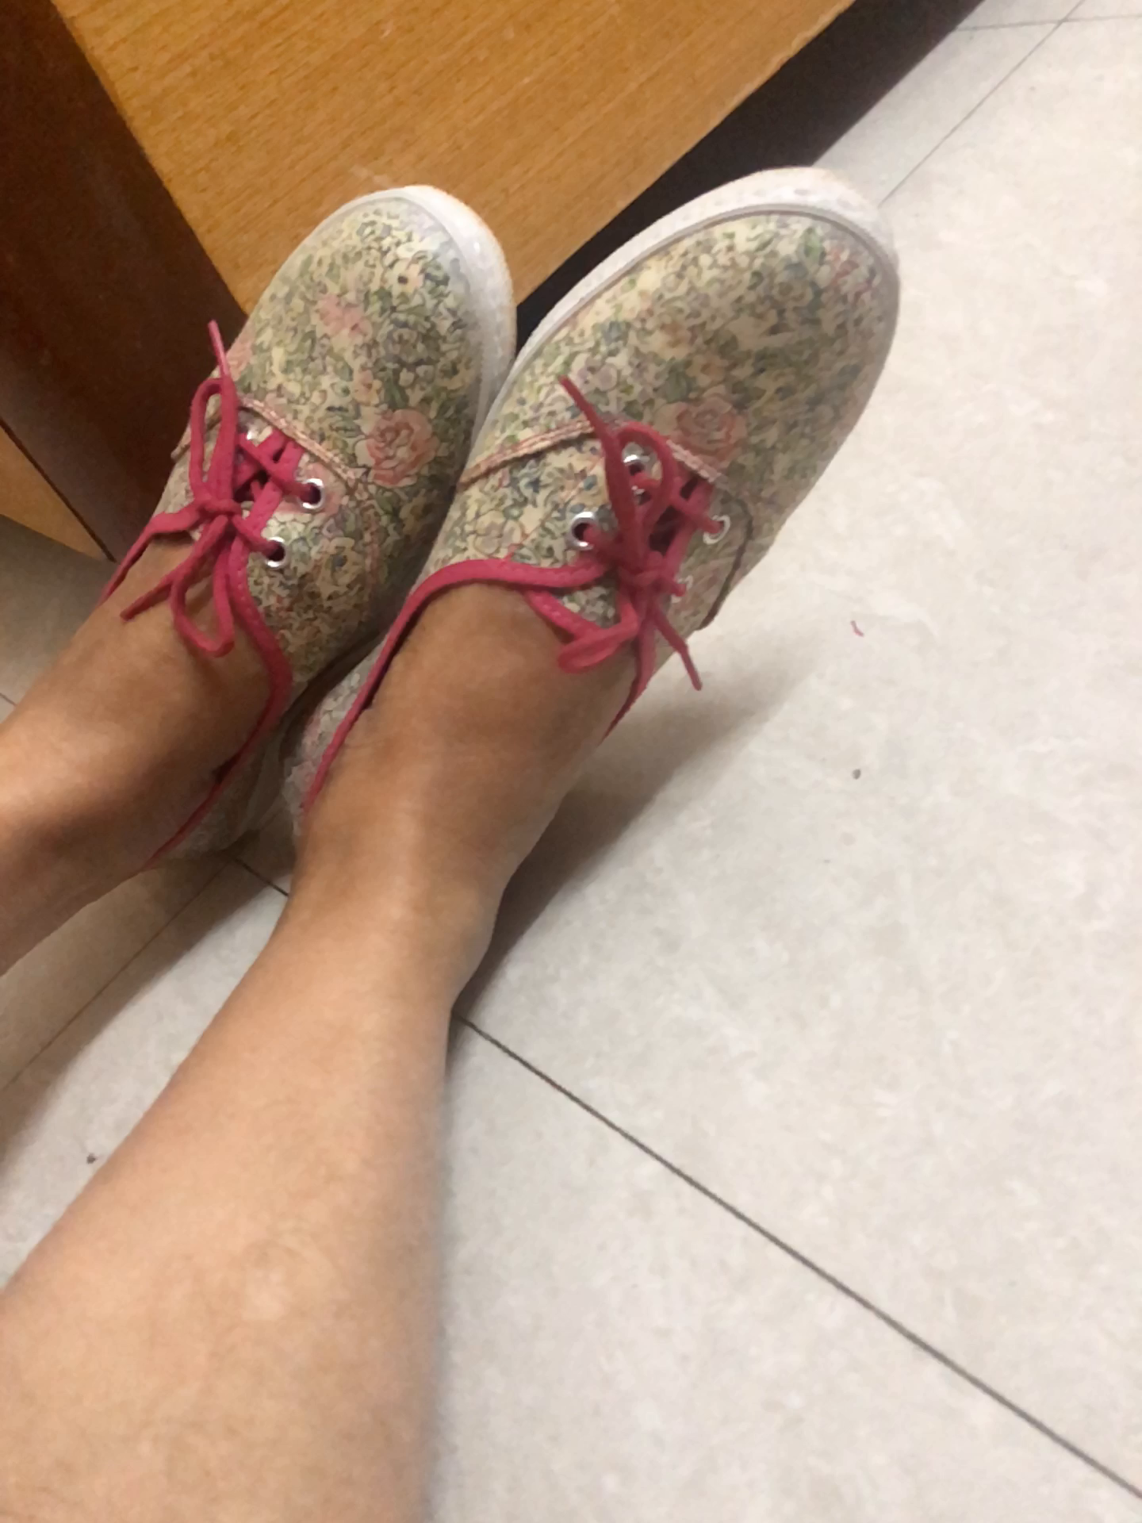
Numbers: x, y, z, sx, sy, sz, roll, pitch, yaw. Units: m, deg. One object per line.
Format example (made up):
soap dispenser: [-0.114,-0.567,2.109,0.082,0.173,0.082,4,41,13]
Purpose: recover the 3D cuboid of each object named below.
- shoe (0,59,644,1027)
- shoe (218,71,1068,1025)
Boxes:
shoe: [-0.096,-0.048,0.368,0.259,0.090,0.070,-54,-8,29]
shoe: [0.002,-0.042,0.360,0.259,0.090,0.070,-51,21,30]
